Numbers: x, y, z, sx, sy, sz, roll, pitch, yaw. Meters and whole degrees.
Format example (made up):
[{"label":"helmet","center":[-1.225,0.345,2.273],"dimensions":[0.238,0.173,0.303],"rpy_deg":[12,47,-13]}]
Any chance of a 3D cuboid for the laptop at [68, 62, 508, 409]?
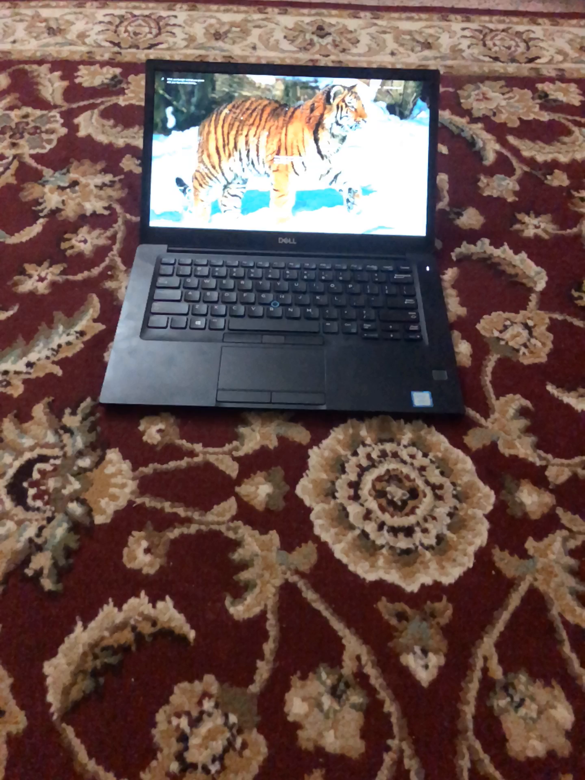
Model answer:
[{"label":"laptop","center":[-0.002,-0.174,0.649],"dimensions":[0.328,0.124,0.384],"rpy_deg":[1,51,0]}]
